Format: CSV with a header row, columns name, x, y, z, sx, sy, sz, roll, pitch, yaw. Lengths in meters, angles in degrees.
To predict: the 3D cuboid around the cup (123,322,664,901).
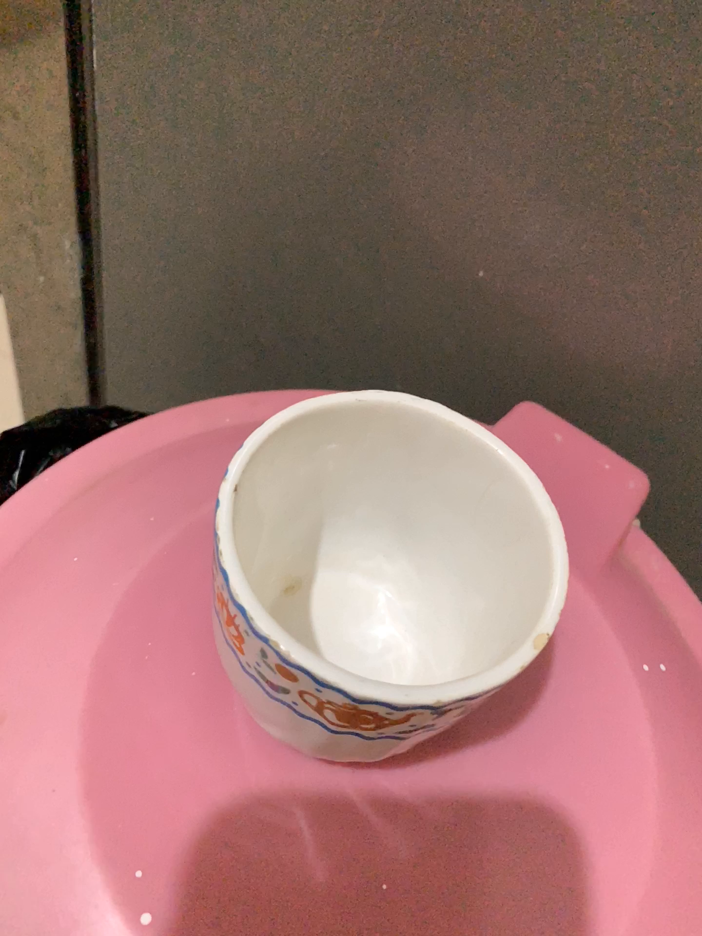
name,x,y,z,sx,sy,sz,roll,pitch,yaw
cup,0.007,0.028,0.156,0.076,0.062,0.072,8,50,-10
